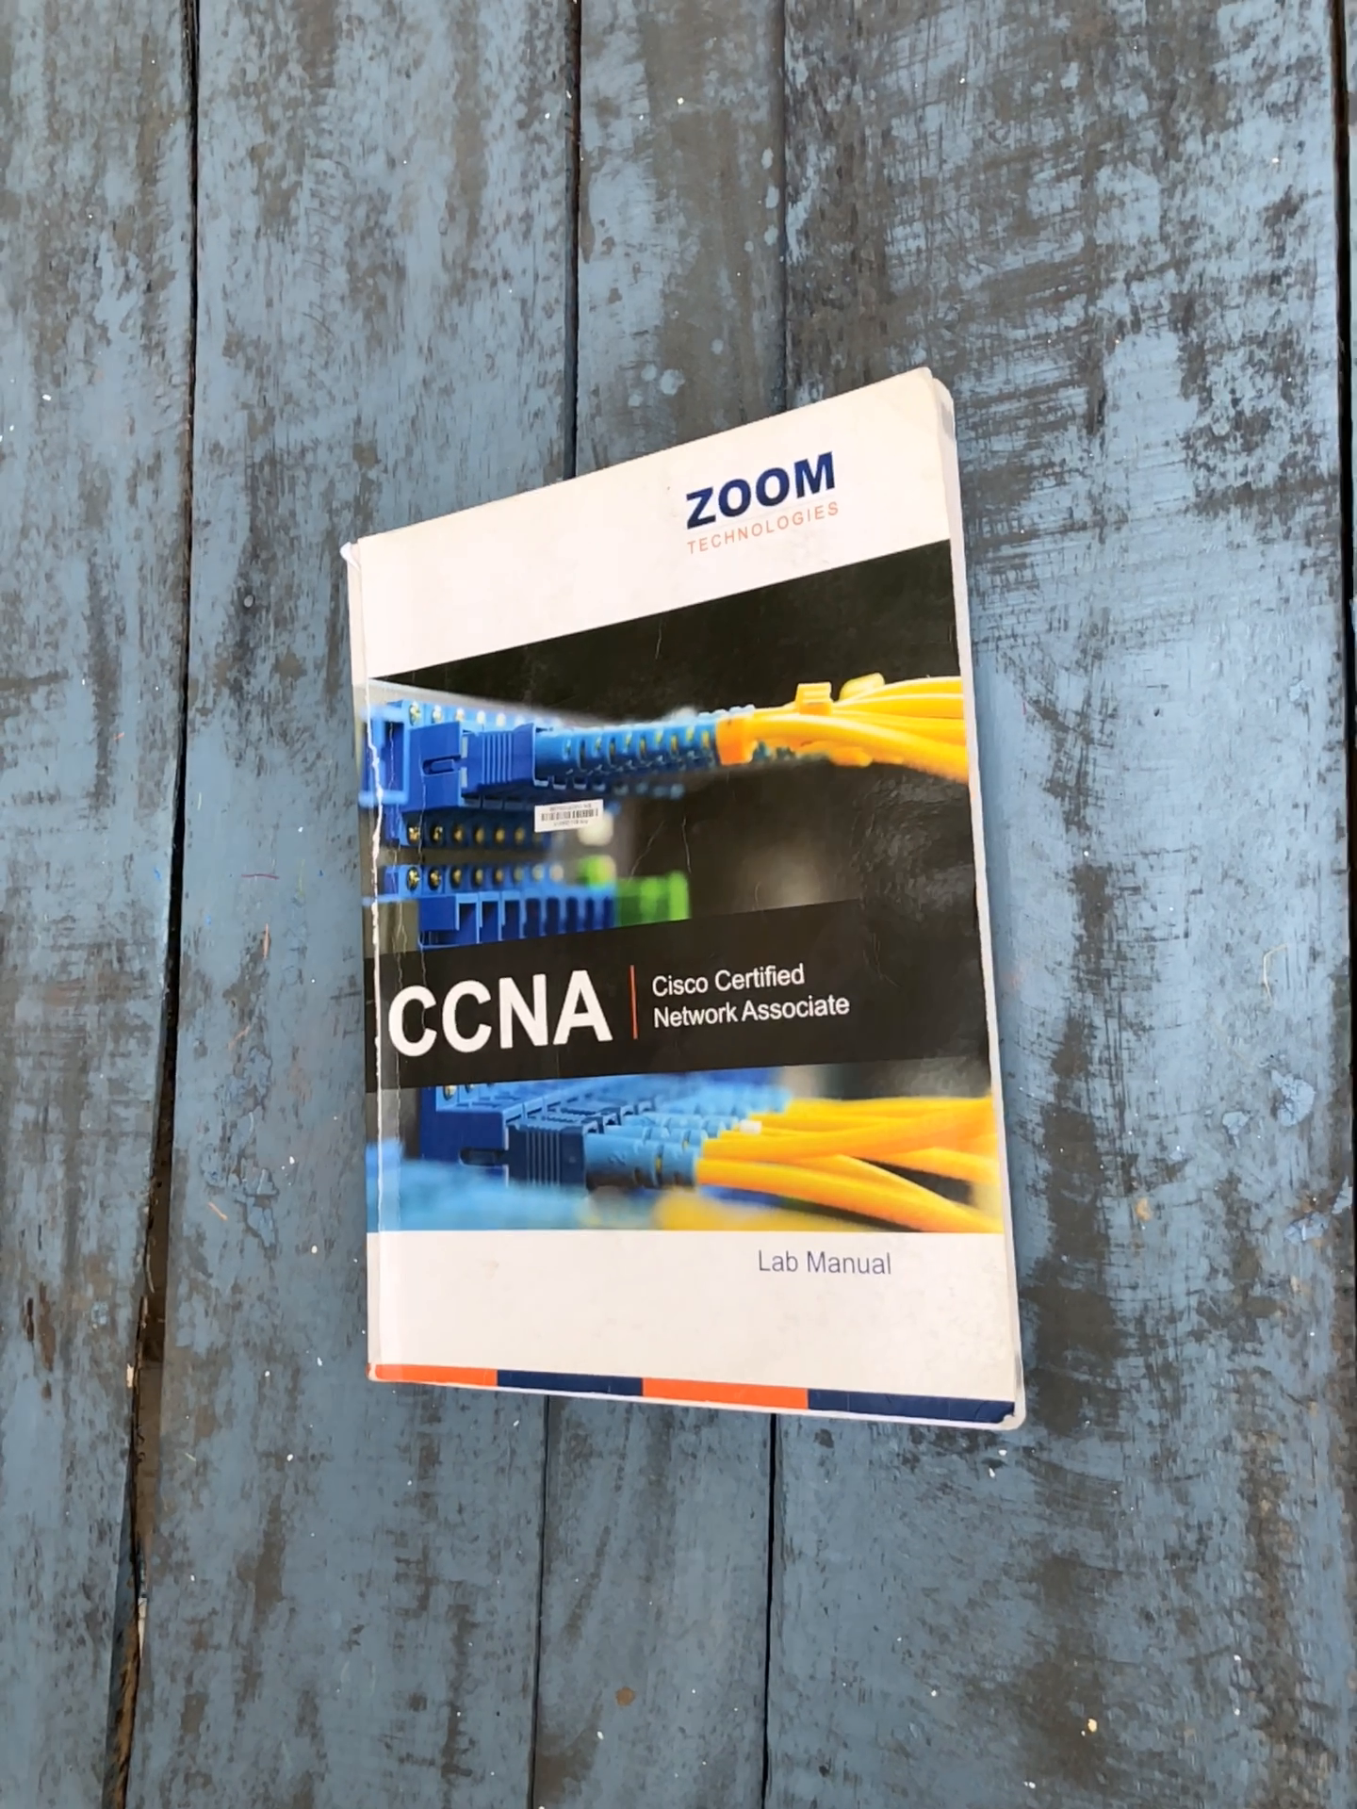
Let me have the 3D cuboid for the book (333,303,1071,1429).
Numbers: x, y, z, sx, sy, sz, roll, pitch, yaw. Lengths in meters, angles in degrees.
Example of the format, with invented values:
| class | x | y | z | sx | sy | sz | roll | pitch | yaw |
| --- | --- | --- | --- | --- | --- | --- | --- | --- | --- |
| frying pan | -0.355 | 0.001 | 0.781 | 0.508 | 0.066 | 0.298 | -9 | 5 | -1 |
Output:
| class | x | y | z | sx | sy | sz | roll | pitch | yaw |
| --- | --- | --- | --- | --- | --- | --- | --- | --- | --- |
| book | -0.007 | -0.004 | 0.404 | 0.201 | 0.030 | 0.260 | -7 | 80 | 30 |
